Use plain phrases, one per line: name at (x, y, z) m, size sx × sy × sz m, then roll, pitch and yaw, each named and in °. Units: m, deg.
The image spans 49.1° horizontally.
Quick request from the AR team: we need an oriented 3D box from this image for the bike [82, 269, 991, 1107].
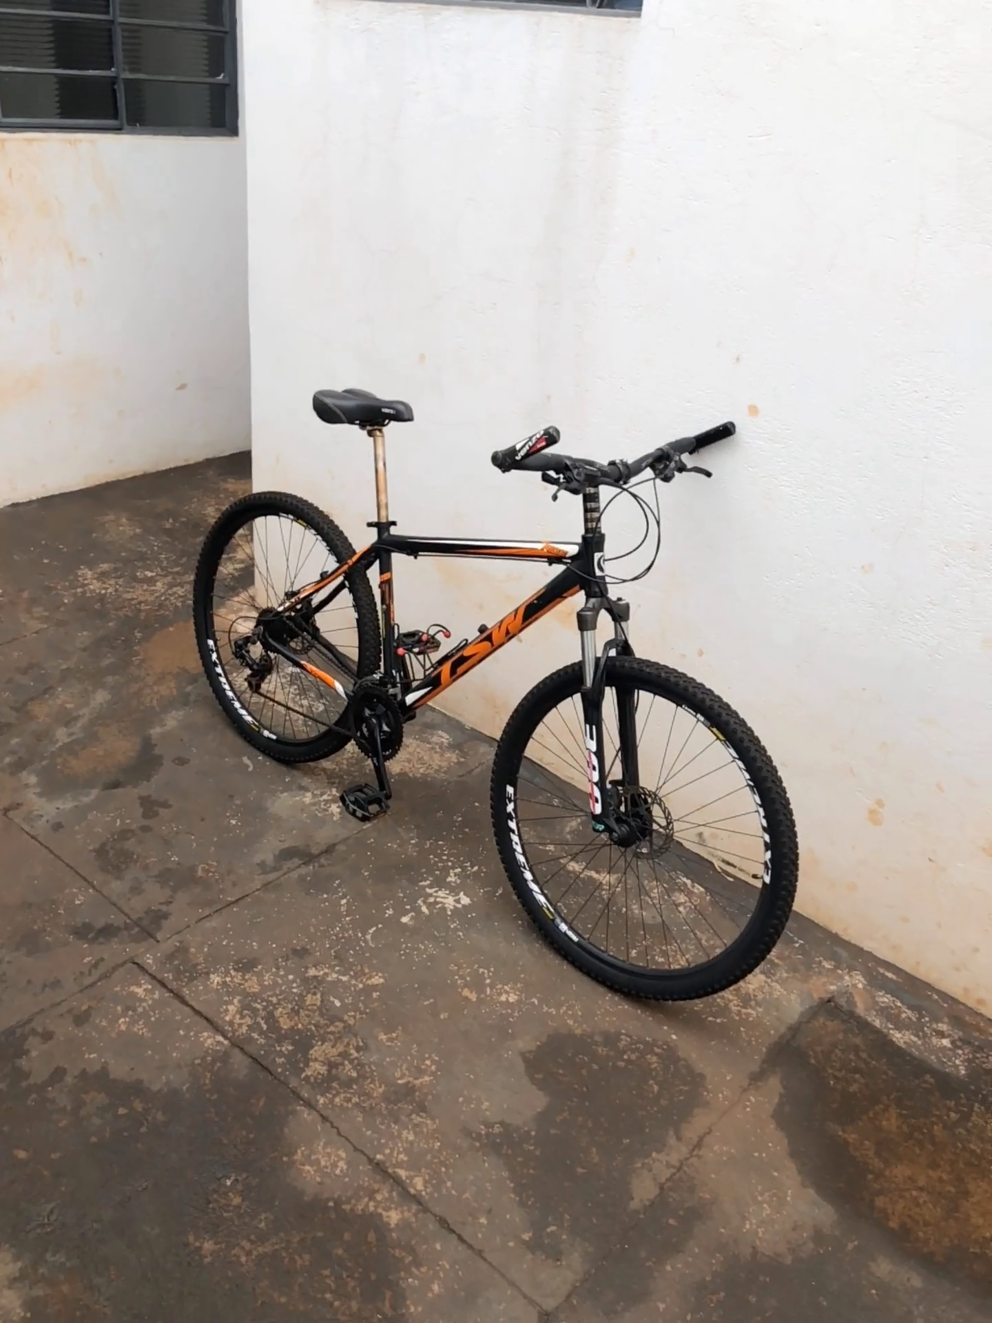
bike at (-0.056, -0.127, 2.409) m, size 1.766 × 1.084 × 0.725 m, roll 26°, pitch 34°, yaw 33°
